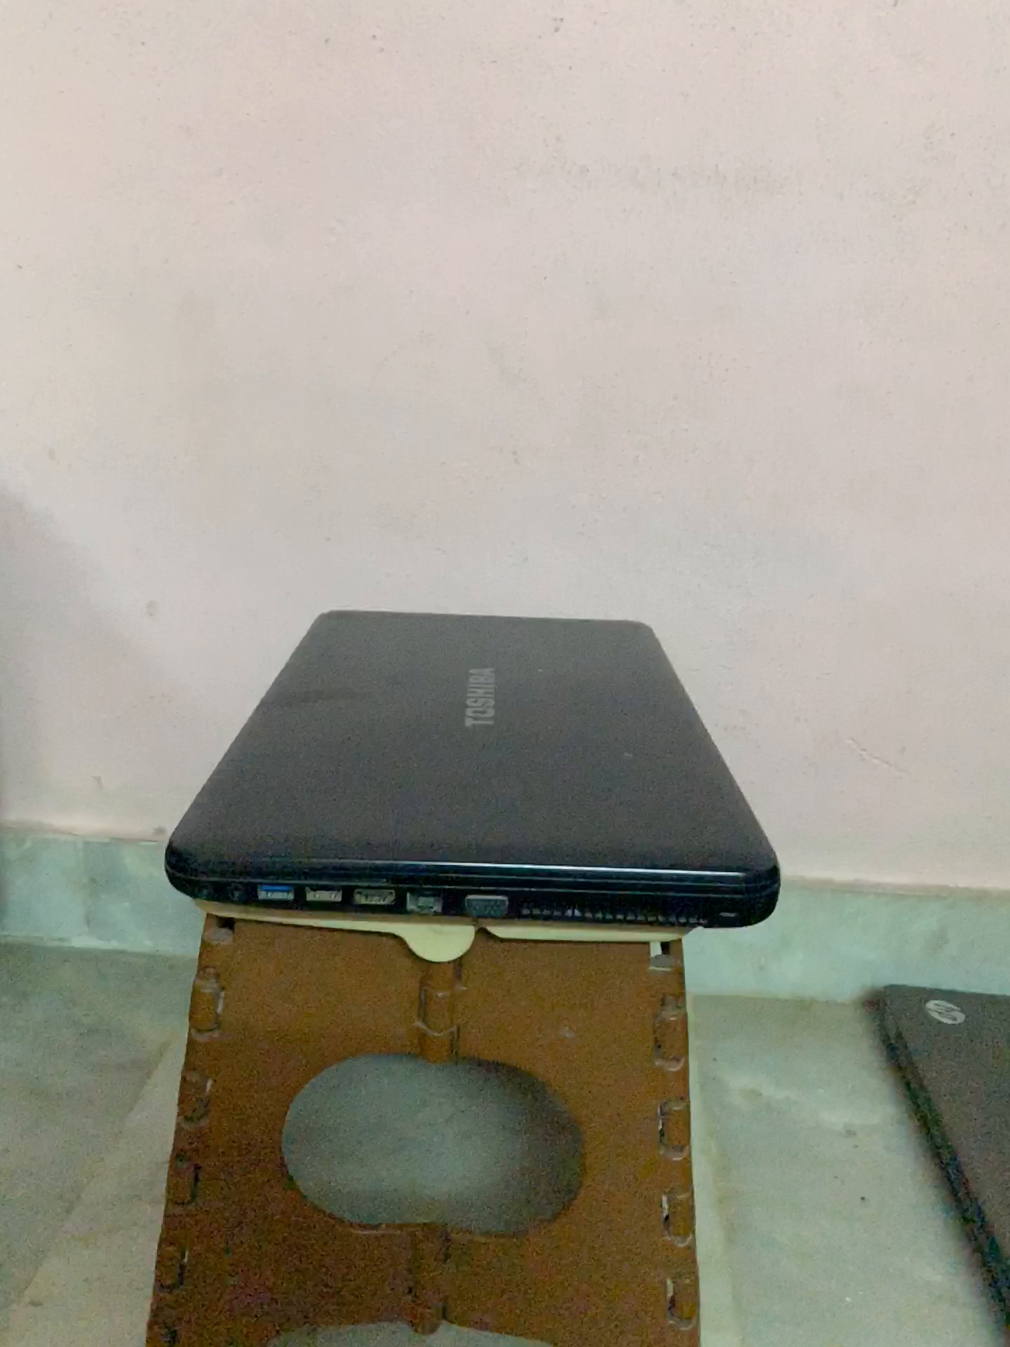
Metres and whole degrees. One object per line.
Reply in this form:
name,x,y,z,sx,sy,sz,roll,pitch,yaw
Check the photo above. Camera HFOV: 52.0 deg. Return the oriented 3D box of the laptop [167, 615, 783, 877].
laptop,-0.013,0.018,0.573,0.236,0.001,0.370,2,17,-1
